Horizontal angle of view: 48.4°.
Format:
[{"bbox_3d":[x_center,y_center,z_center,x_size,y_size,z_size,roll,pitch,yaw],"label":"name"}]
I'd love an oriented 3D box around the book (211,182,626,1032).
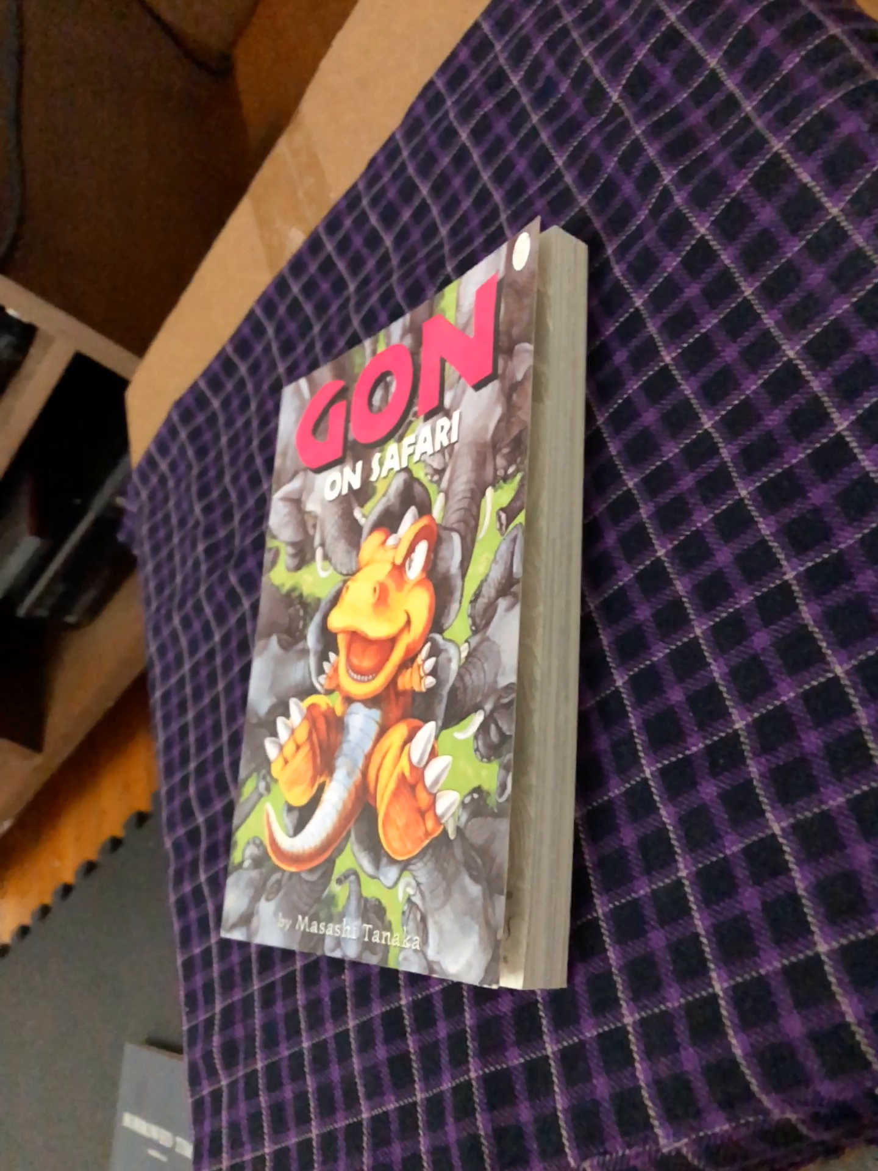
[{"bbox_3d":[-0.011,0.007,0.295,0.150,0.020,0.210,-15,65,48],"label":"book"}]
